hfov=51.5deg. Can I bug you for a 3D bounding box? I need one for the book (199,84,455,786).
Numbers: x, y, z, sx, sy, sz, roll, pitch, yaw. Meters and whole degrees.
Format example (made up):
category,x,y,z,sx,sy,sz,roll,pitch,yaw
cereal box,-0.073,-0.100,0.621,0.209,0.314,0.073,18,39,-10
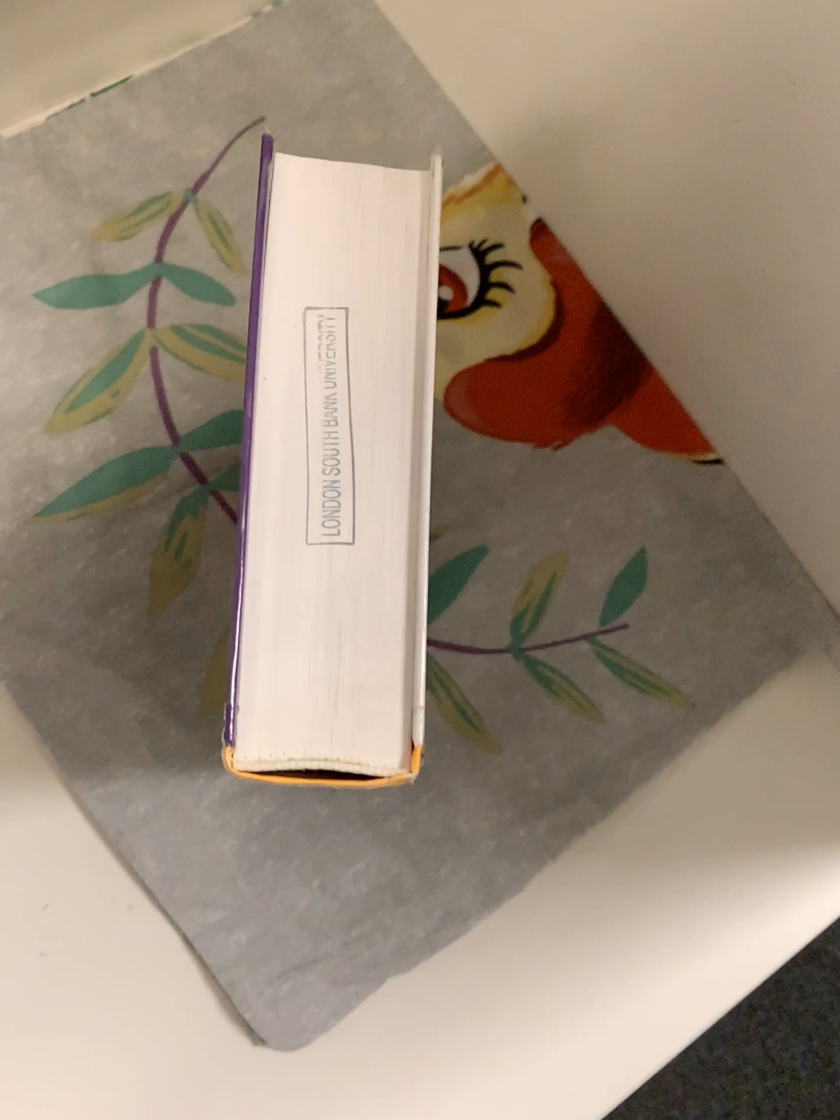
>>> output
category,x,y,z,sx,sy,sz,roll,pitch,yaw
book,-0.031,-0.010,0.320,0.049,0.244,0.168,3,78,-5
